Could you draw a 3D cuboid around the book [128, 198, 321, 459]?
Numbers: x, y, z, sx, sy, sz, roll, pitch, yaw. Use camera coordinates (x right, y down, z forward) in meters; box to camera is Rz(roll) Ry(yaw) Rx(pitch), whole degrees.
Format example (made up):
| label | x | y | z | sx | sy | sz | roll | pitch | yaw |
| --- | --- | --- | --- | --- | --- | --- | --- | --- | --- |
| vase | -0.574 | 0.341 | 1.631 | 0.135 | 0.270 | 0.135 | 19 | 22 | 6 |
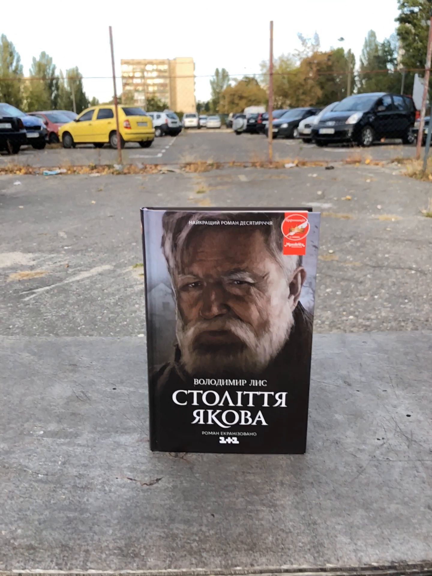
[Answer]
| label | x | y | z | sx | sy | sz | roll | pitch | yaw |
| --- | --- | --- | --- | --- | --- | --- | --- | --- | --- |
| book | 0.007 | 0.036 | 0.387 | 0.140 | 0.212 | 0.030 | 0 | 15 | 3 |
